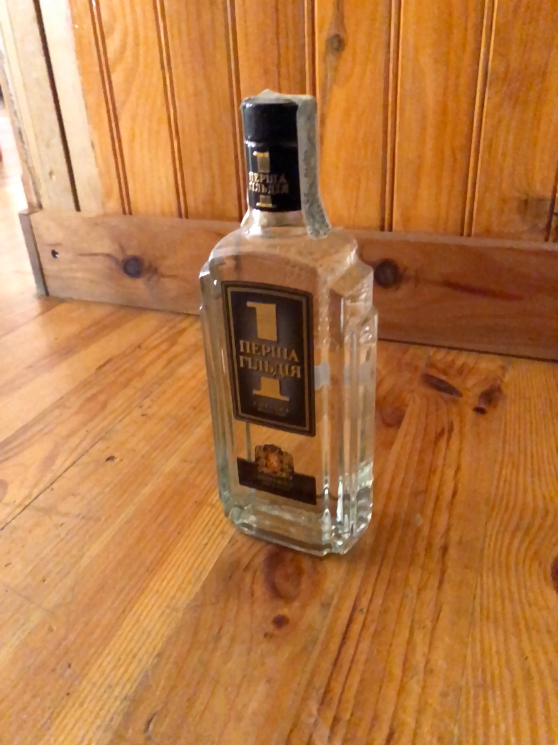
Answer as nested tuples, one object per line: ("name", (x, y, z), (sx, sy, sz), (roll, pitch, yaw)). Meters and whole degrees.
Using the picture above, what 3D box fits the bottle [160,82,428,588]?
("bottle", (0.013, -0.013, 0.326), (0.100, 0.249, 0.060), (12, 32, 26))
